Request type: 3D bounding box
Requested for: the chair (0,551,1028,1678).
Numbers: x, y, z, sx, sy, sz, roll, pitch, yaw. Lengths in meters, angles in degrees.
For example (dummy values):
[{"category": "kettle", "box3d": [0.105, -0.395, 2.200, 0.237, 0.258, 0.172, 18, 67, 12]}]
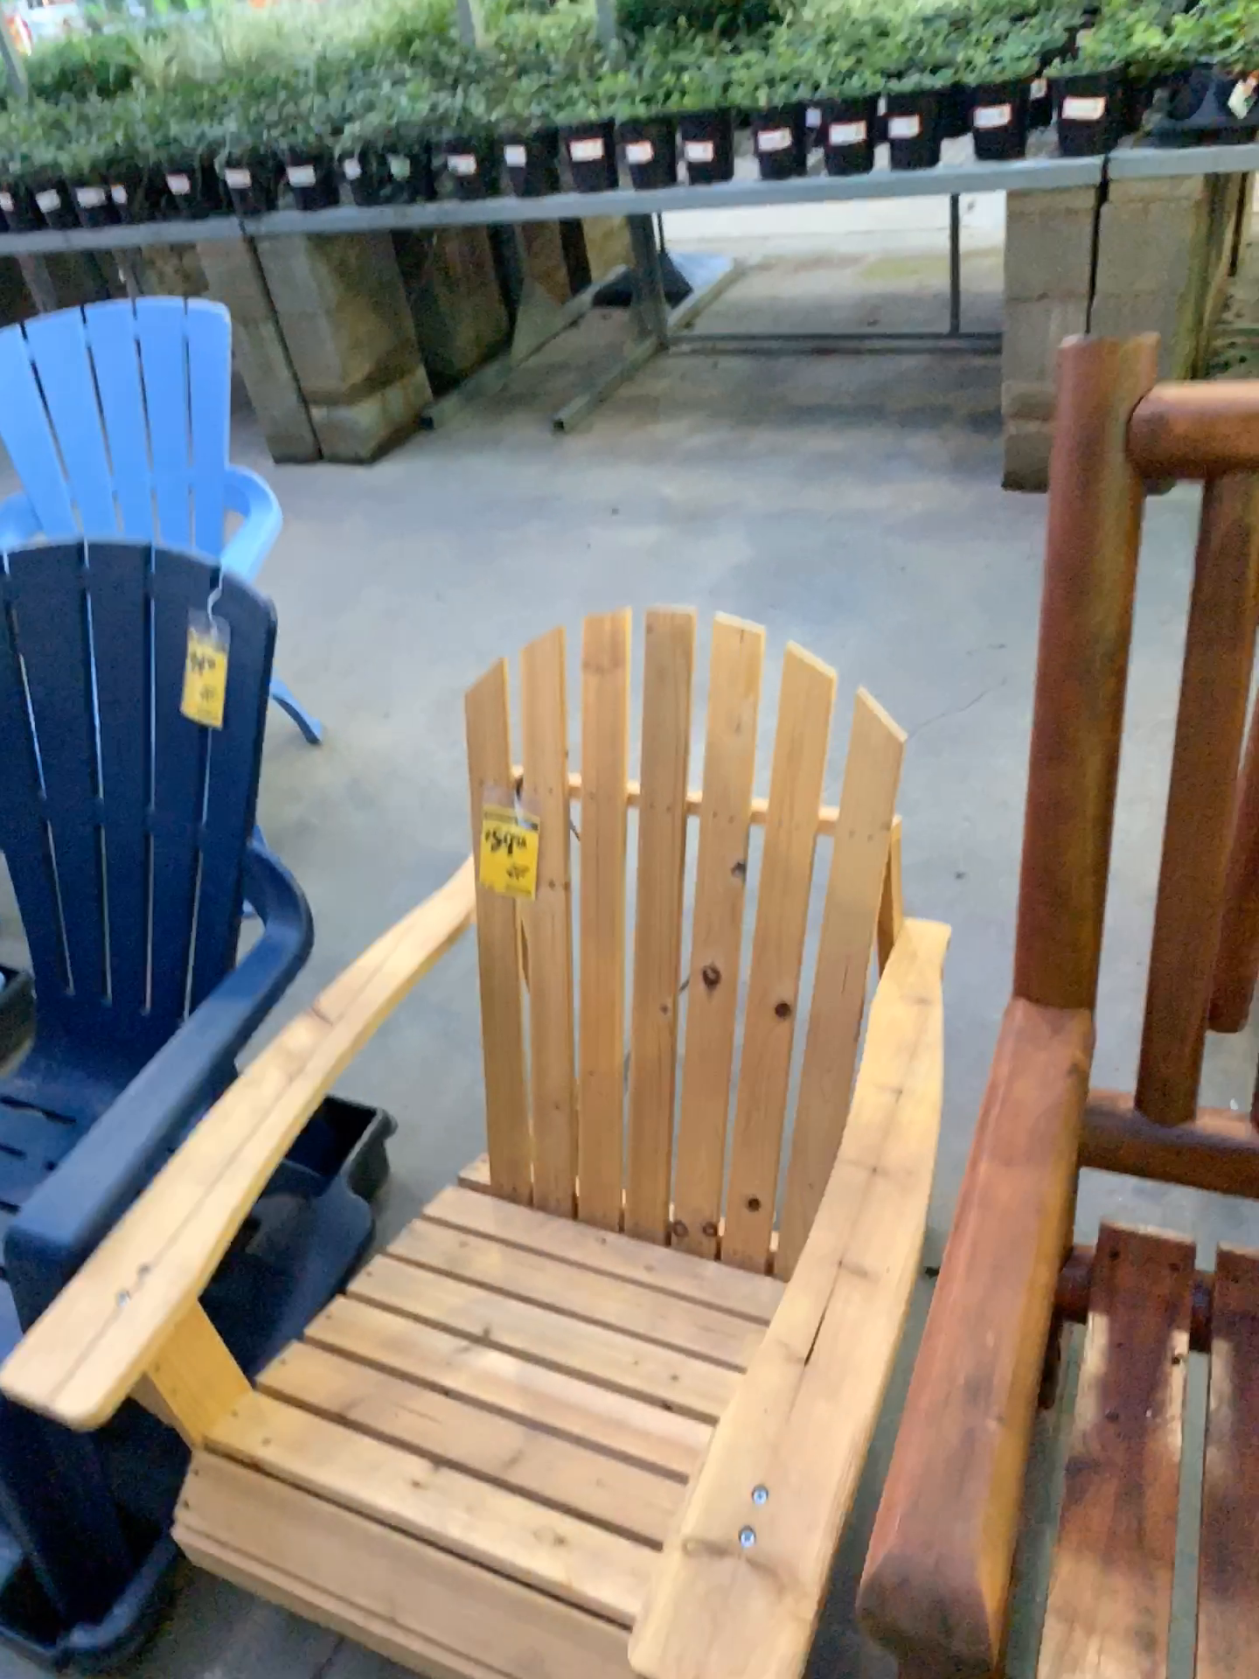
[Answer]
[{"category": "chair", "box3d": [-0.062, 0.338, 1.312, 0.729, 0.887, 0.893, 8, 42, 24]}]
